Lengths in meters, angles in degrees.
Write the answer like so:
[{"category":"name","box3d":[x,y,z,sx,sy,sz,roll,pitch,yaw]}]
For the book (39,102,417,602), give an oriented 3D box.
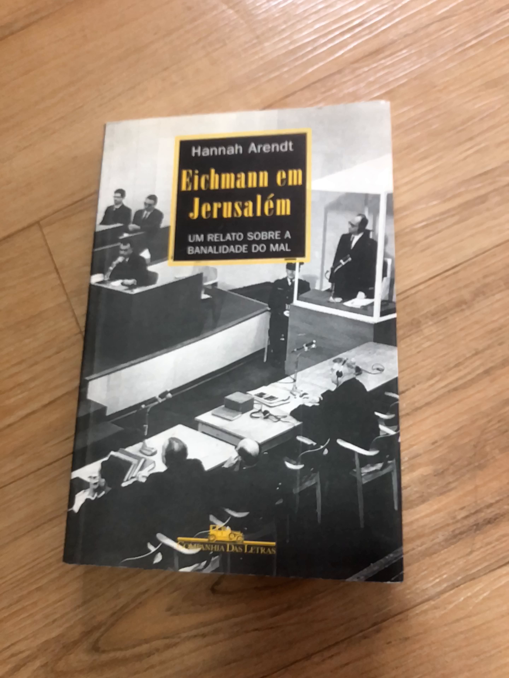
[{"category":"book","box3d":[-0.010,-0.002,0.247,0.144,0.023,0.203,-1,76,8]}]
